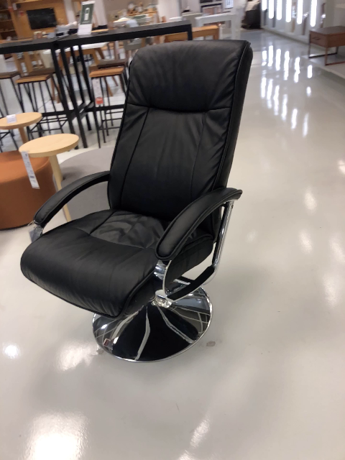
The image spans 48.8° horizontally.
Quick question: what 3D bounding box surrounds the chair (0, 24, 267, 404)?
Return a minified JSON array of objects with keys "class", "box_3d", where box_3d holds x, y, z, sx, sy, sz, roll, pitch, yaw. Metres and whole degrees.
[{"class":"chair","box_3d":[-0.159,-0.141,1.432,0.732,0.992,0.804,15,37,33]}]
